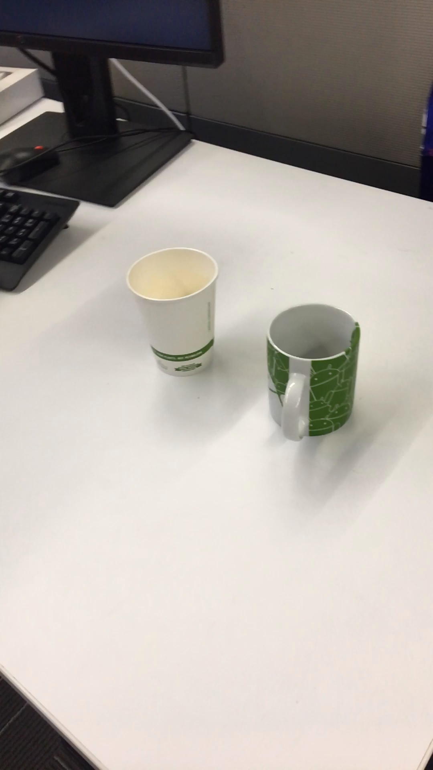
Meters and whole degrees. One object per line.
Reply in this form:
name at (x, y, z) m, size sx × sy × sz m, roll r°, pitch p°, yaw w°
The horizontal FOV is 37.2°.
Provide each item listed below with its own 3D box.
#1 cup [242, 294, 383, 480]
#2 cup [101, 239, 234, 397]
cup at (0.085, -0.002, 0.559) m, size 0.090 × 0.090 × 0.120 m, roll 11°, pitch 46°, yaw 17°
cup at (-0.042, -0.066, 0.631) m, size 0.090 × 0.110 × 0.090 m, roll -3°, pitch 44°, yaw 3°
